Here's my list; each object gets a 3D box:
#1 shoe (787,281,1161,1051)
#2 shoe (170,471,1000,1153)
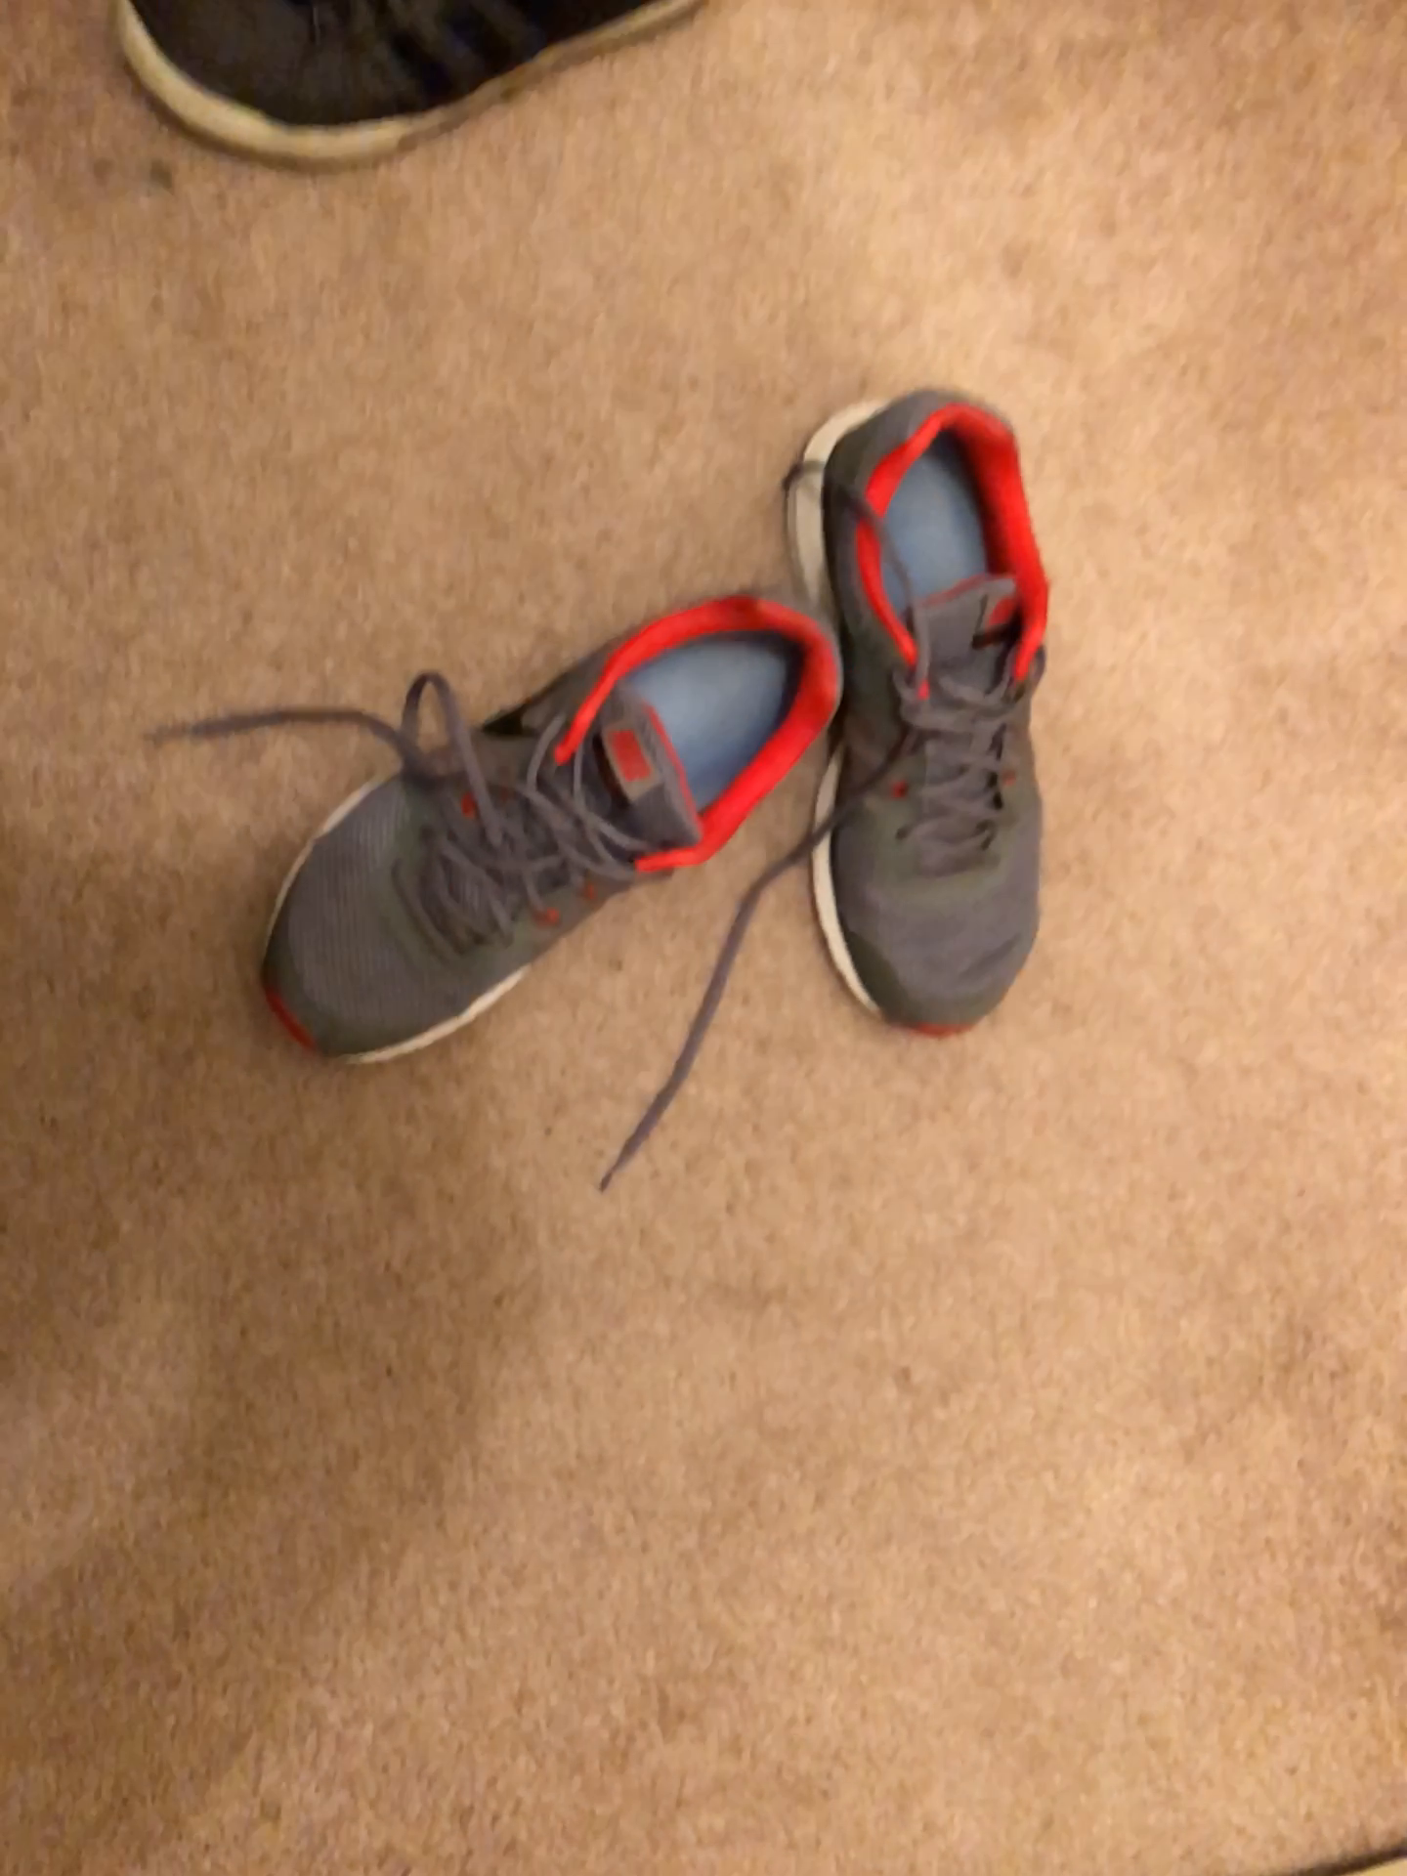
[{"bbox_3d":[0.112,-0.107,0.667,0.113,0.120,0.297,-2,91,-13],"label":"shoe"},{"bbox_3d":[-0.048,-0.052,0.632,0.297,0.120,0.113,-34,97,-10],"label":"shoe"}]
